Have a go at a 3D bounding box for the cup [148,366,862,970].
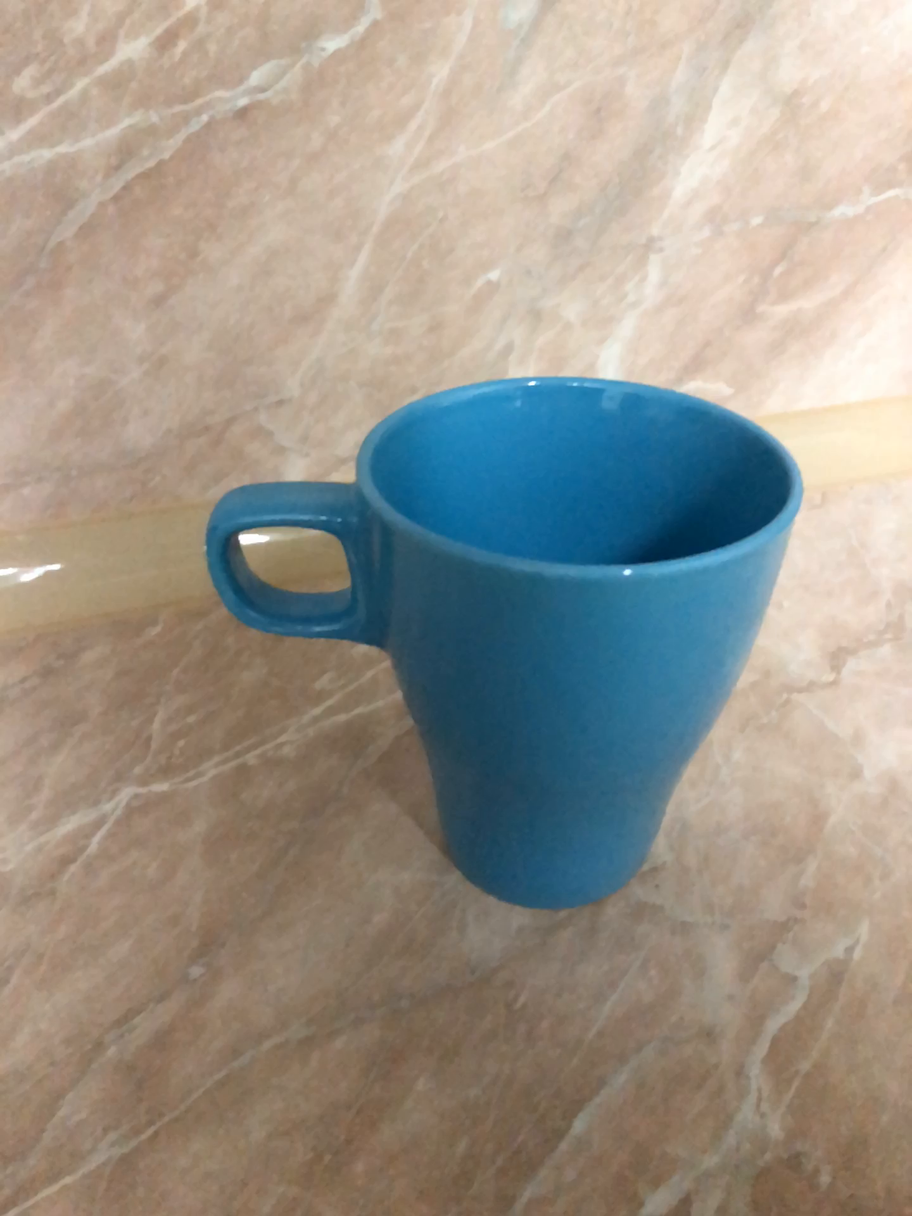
[{"bbox_3d":[0.009,0.009,0.217,0.111,0.089,0.086,3,34,3],"label":"cup"}]
